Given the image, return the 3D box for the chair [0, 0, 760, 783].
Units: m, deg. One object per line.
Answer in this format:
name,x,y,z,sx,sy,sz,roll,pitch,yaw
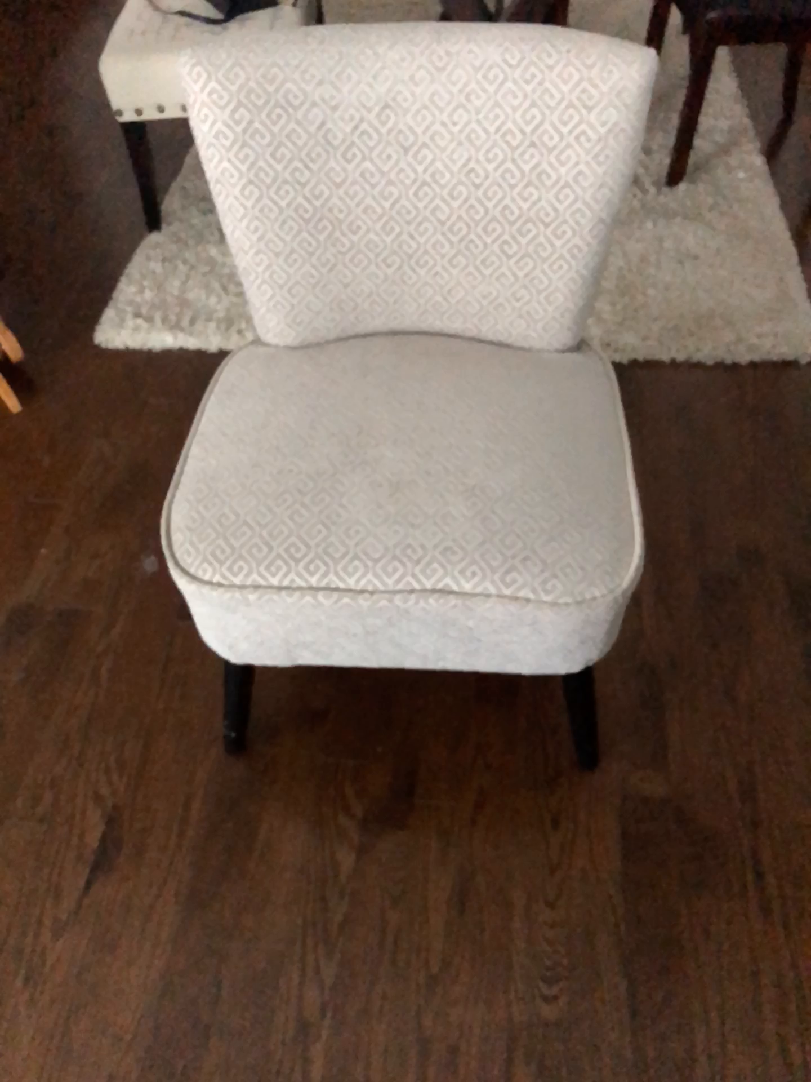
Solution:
chair,0.005,-0.173,1.203,0.600,0.797,0.642,2,49,5
